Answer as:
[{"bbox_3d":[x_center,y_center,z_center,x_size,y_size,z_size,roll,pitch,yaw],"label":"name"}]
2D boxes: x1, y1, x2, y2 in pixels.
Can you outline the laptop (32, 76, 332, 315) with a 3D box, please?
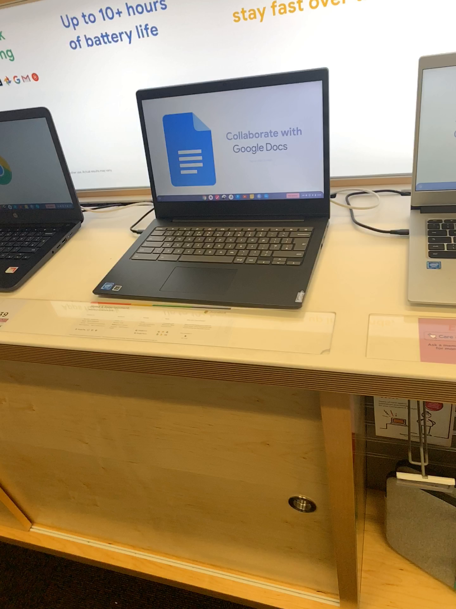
[{"bbox_3d":[-0.034,-0.166,0.682,0.316,0.201,0.282,4,41,21],"label":"laptop"}]
